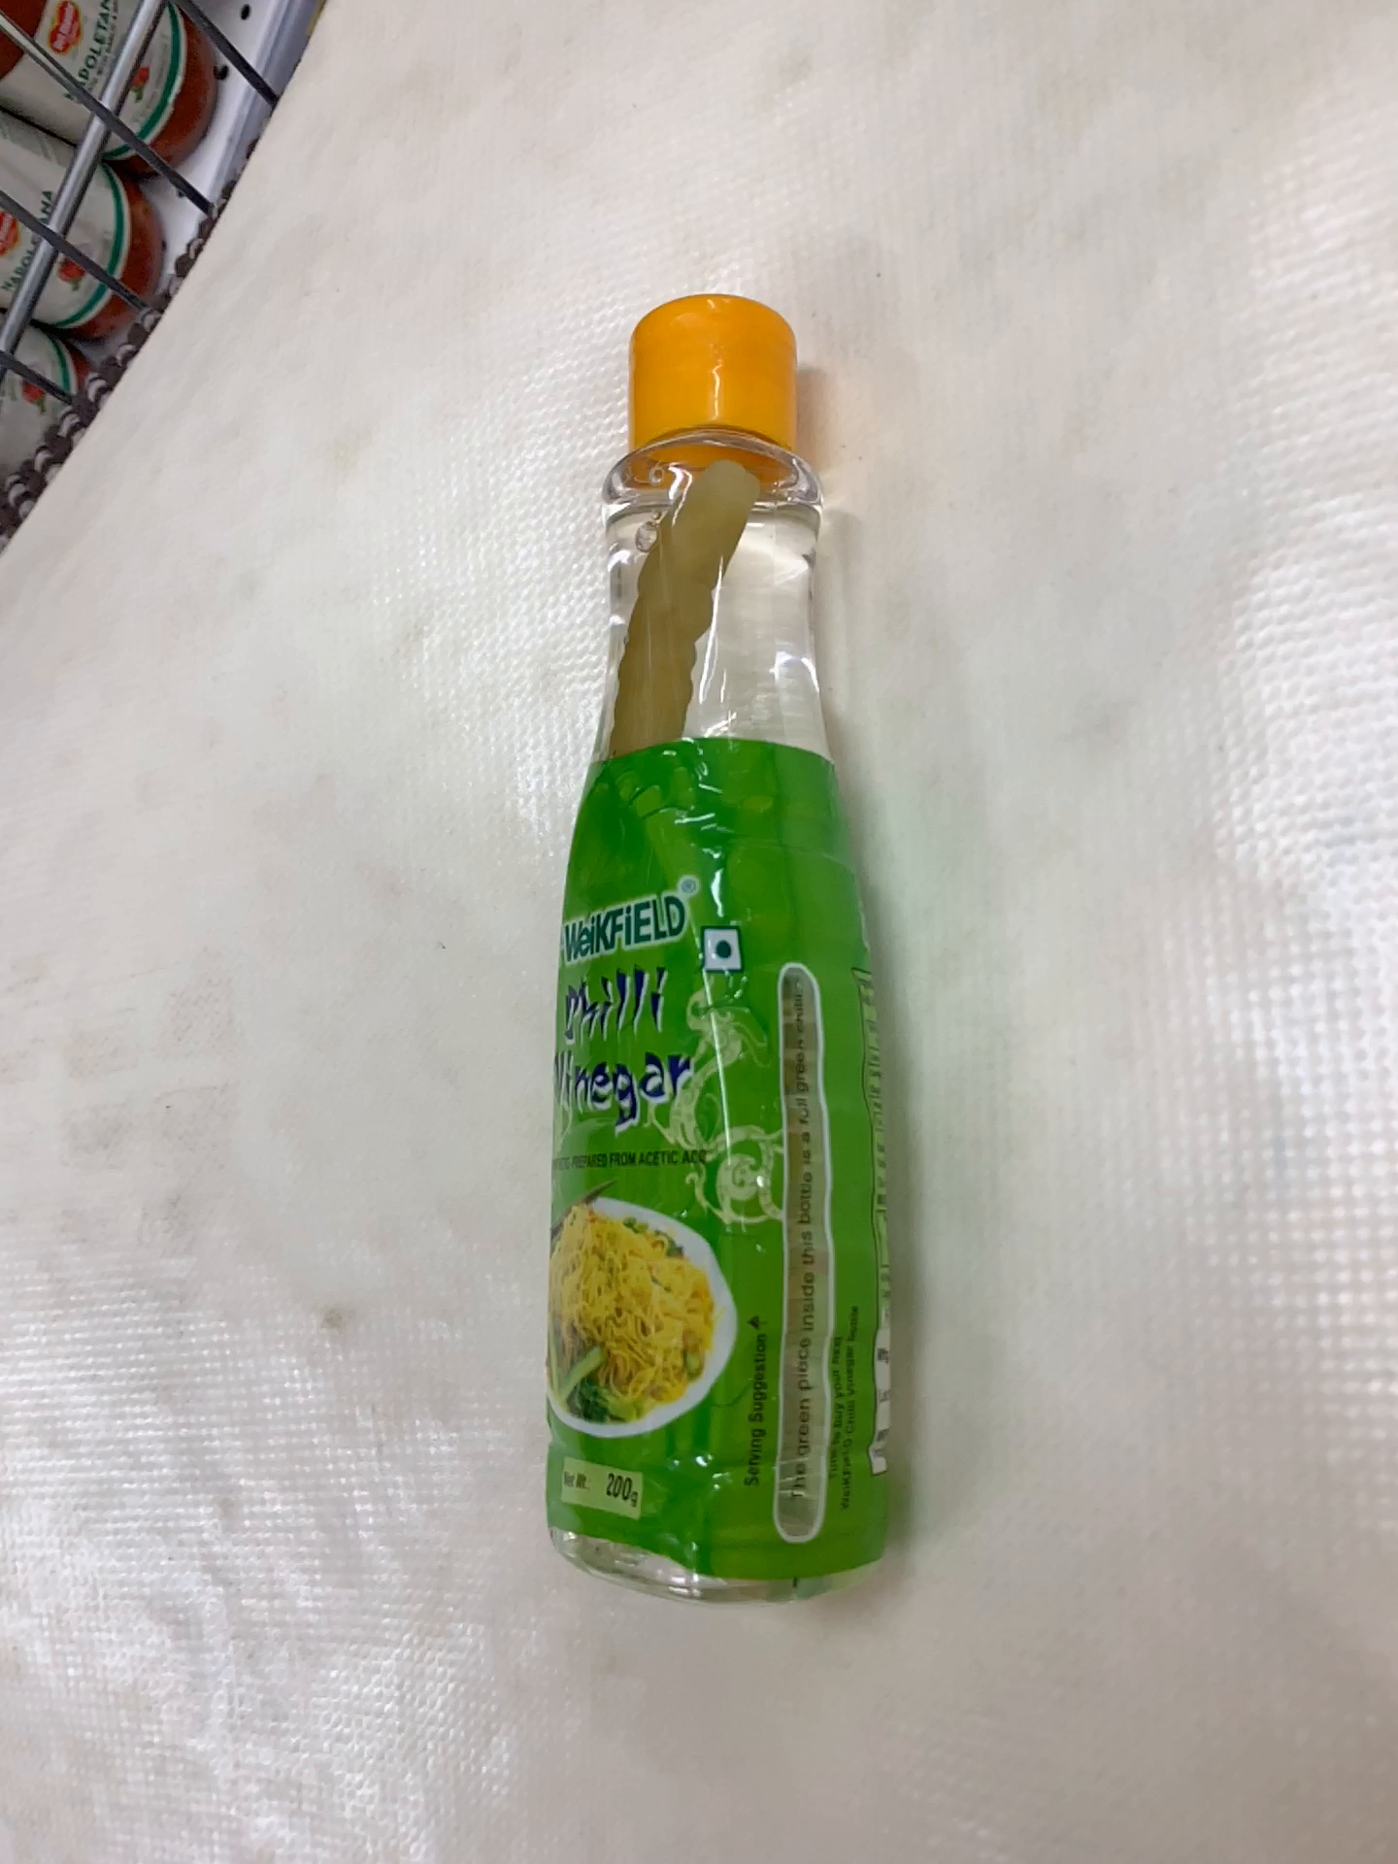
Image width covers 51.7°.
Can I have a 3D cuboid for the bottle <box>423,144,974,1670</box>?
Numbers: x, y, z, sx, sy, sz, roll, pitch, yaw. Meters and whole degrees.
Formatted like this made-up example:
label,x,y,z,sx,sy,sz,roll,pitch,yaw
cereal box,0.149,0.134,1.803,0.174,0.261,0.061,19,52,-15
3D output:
label,x,y,z,sx,sy,sz,roll,pitch,yaw
bottle,-0.004,-0.004,0.204,0.060,0.040,0.180,-11,79,50
